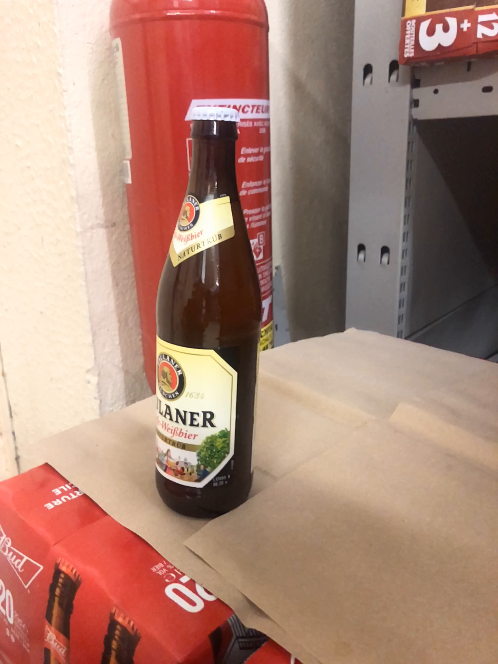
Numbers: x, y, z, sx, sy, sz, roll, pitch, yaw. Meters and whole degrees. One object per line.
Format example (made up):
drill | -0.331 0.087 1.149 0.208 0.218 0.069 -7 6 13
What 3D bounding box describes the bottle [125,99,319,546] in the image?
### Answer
bottle | -0.016 -0.007 0.335 0.080 0.239 0.080 0 16 0
